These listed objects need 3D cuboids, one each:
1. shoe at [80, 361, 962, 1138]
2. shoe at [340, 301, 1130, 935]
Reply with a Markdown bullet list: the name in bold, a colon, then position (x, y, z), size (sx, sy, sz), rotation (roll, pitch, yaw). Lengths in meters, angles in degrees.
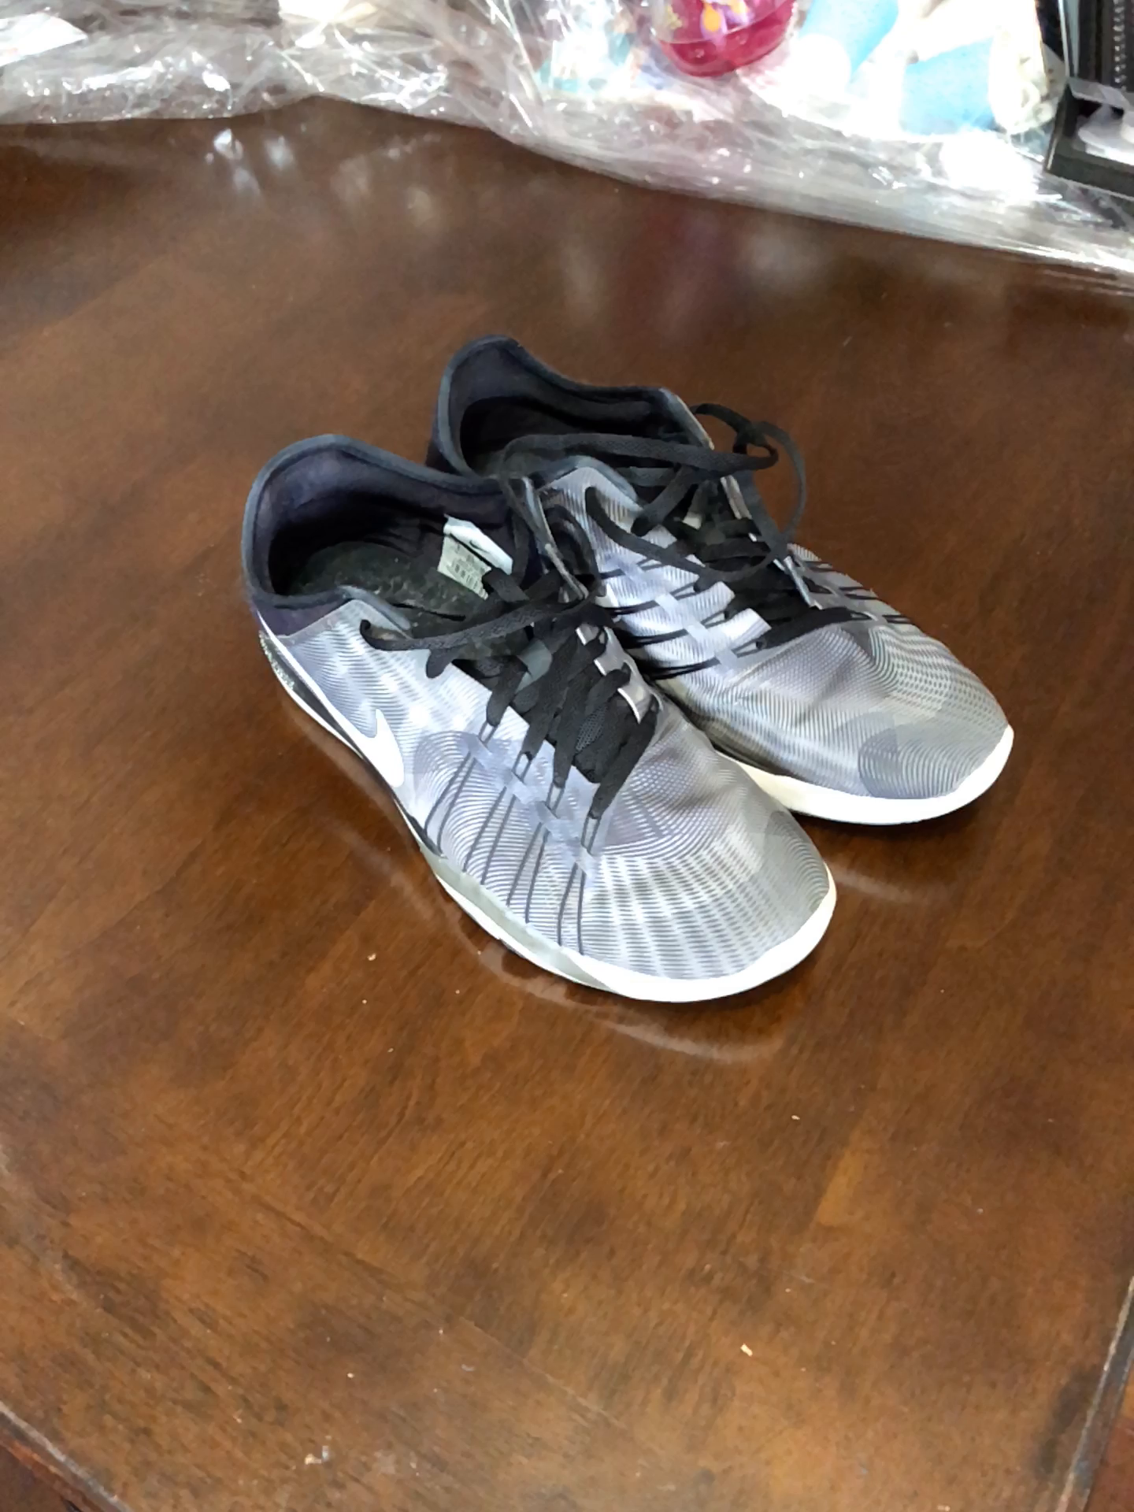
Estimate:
- **shoe**: position (-0.021, -0.014, 0.372), size (0.230, 0.090, 0.100), rotation (33, 59, 26)
- **shoe**: position (0.045, -0.057, 0.423), size (0.230, 0.080, 0.100), rotation (33, 59, 26)
